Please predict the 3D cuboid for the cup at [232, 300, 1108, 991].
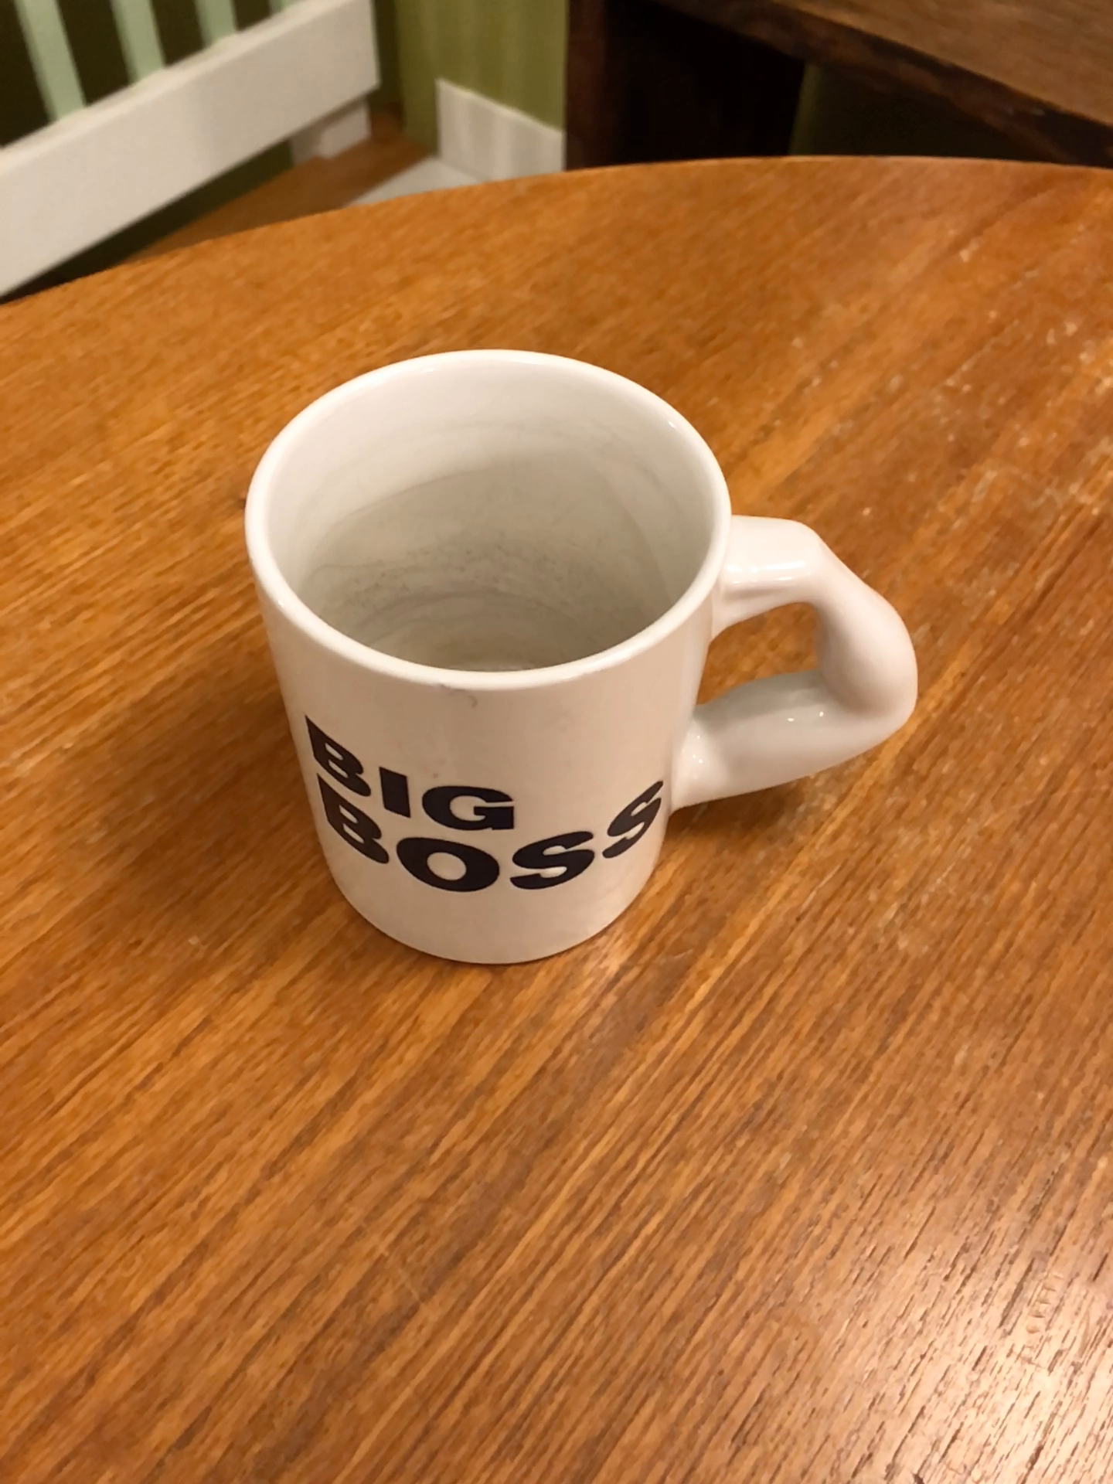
[{"bbox_3d":[0.013,-0.018,0.257,0.138,0.100,0.088,-6,55,-6],"label":"cup"}]
